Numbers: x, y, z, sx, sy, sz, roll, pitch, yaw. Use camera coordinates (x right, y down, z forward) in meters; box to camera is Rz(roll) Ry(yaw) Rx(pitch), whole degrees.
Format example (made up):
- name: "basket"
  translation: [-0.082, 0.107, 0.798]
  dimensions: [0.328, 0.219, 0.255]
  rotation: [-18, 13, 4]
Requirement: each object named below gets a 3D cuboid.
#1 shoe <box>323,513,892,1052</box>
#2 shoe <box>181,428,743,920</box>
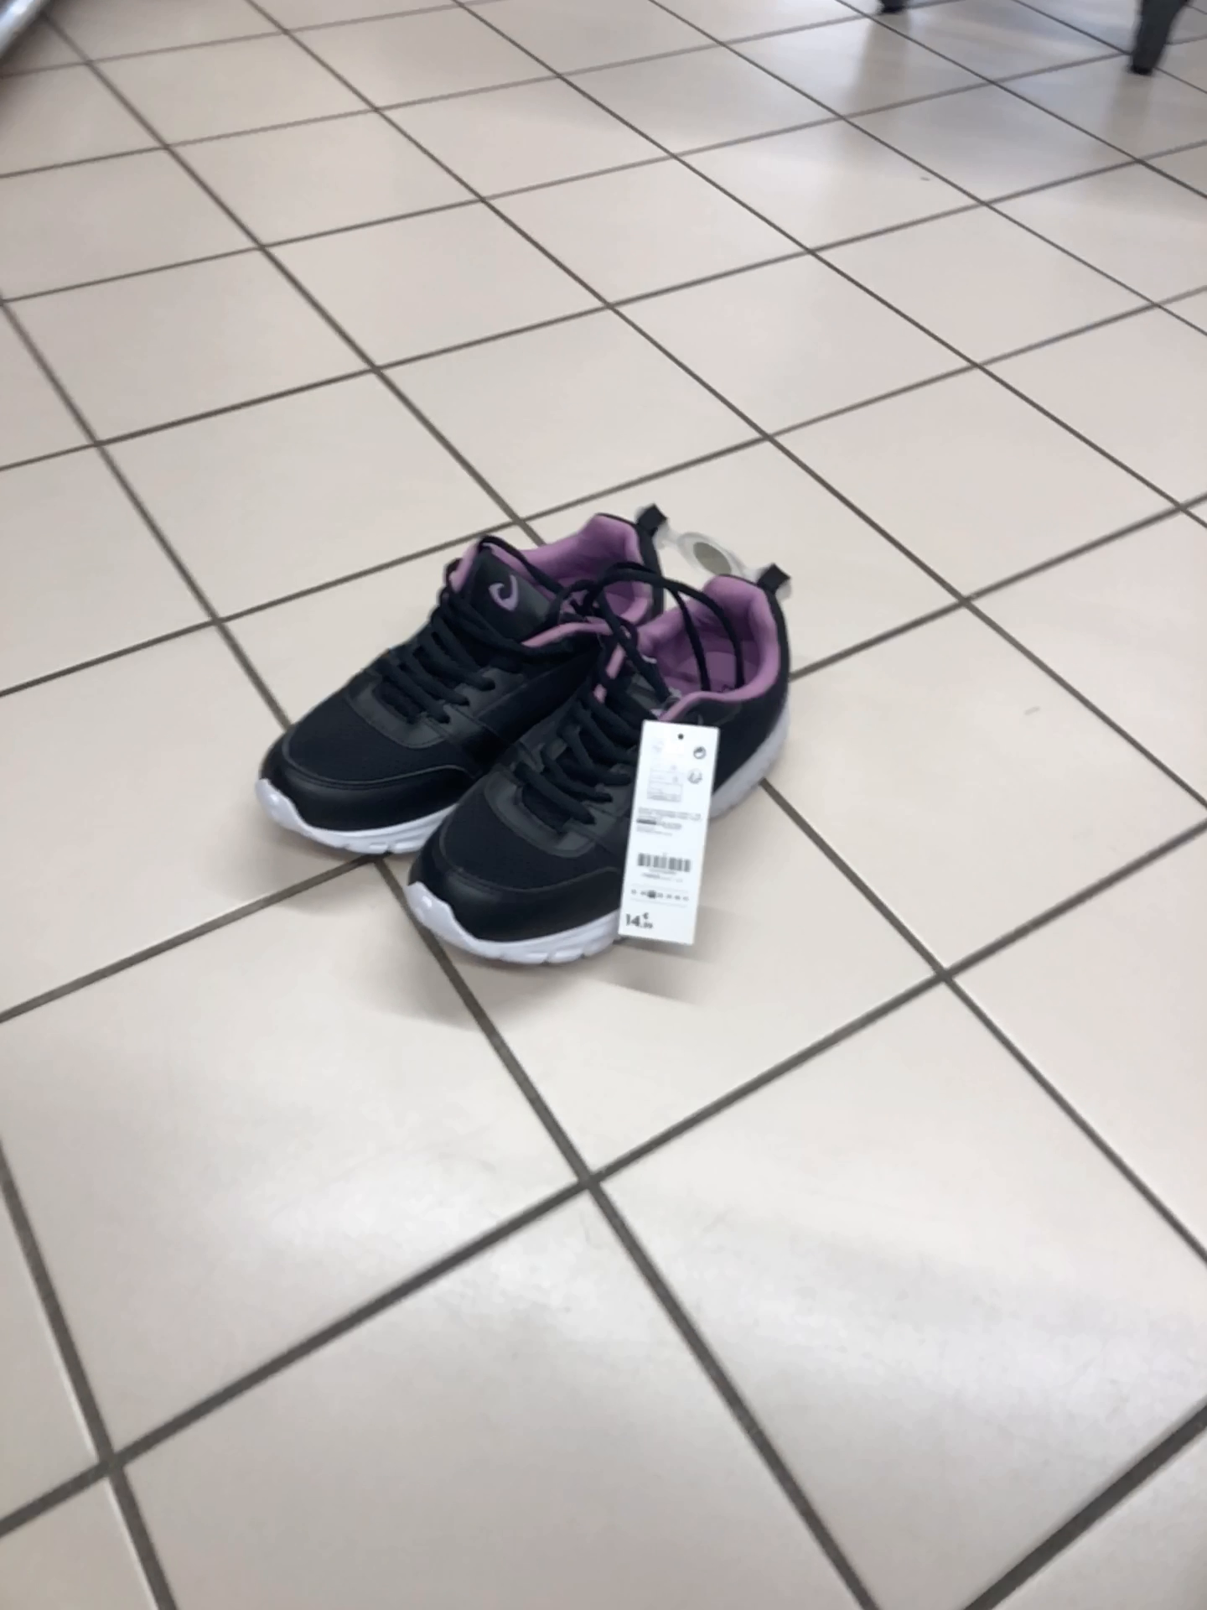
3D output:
- name: "shoe"
  translation: [0.007, -0.021, 0.627]
  dimensions: [0.110, 0.089, 0.261]
  rotation: [38, 56, 21]
- name: "shoe"
  translation: [-0.060, -0.076, 0.659]
  dimensions: [0.110, 0.090, 0.261]
  rotation: [36, 55, 24]
